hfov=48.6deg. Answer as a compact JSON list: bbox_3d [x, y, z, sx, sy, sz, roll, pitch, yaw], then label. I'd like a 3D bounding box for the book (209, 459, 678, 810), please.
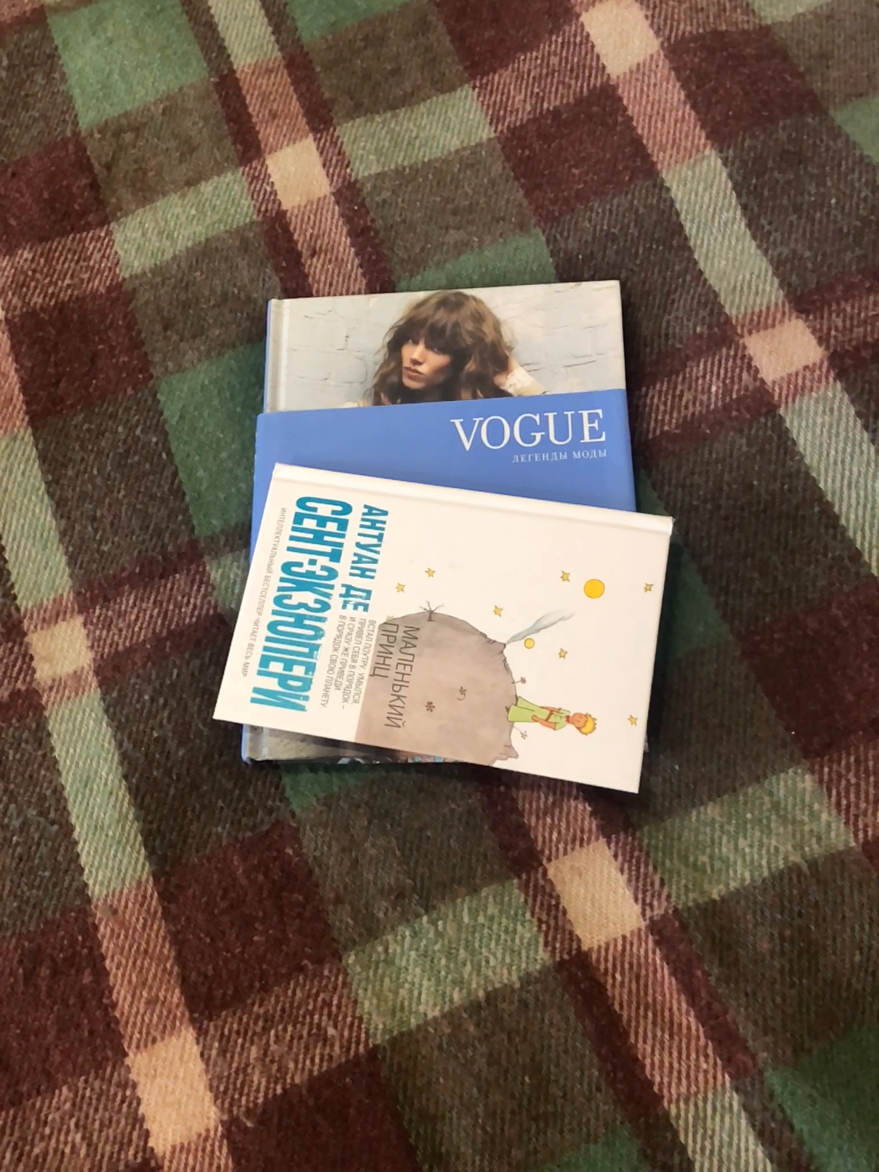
[{"bbox_3d":[0.004,0.016,0.397,0.170,0.014,0.119,8,73,7],"label":"book"}]

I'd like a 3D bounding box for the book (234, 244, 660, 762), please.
[{"bbox_3d":[0.002,-0.044,0.446,0.174,0.024,0.240,-2,72,4],"label":"book"}]
